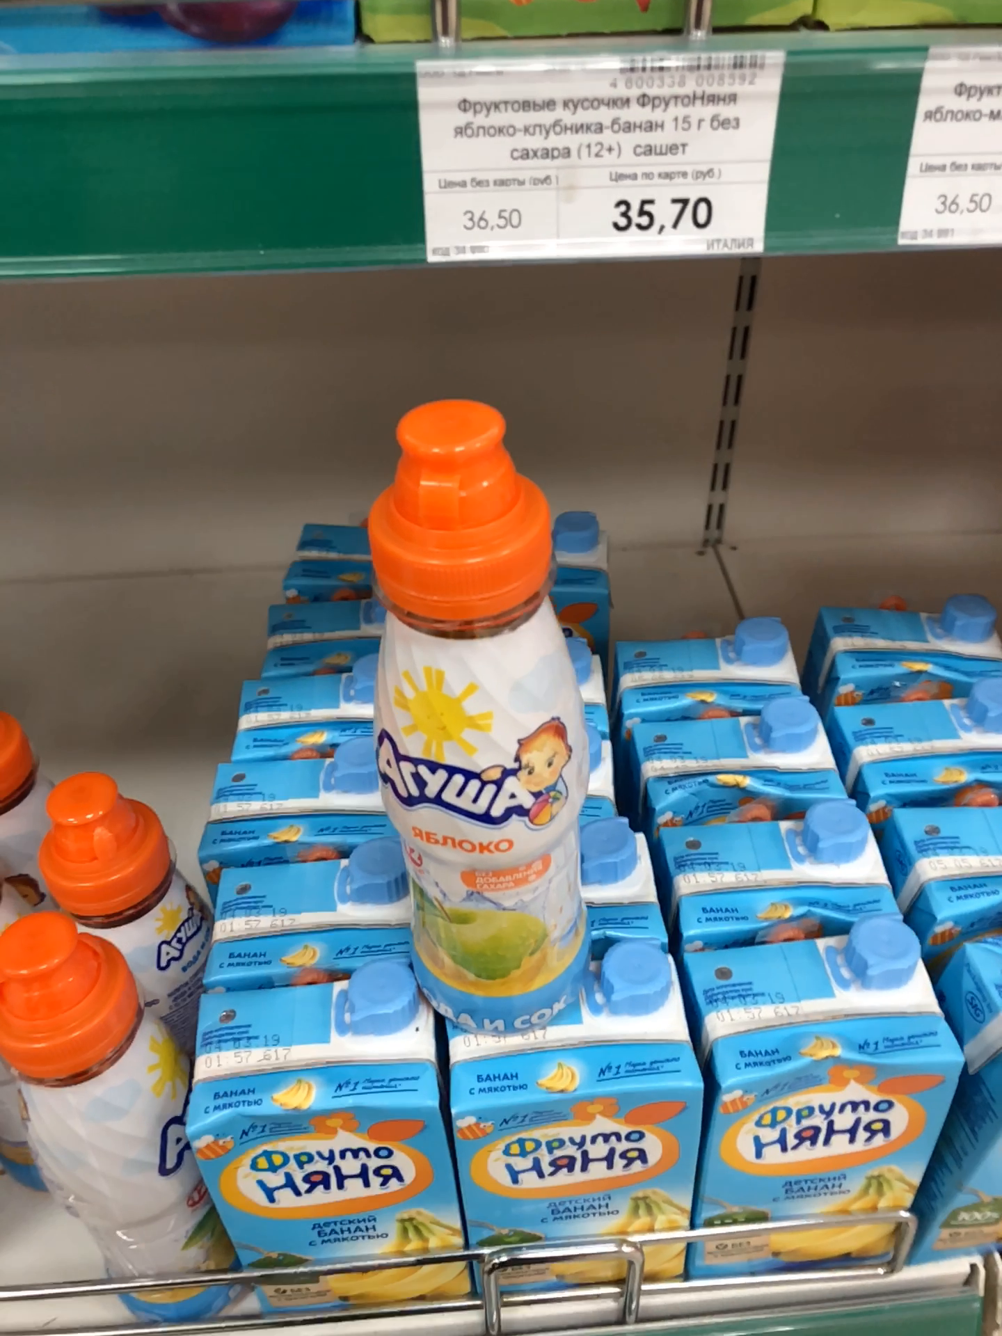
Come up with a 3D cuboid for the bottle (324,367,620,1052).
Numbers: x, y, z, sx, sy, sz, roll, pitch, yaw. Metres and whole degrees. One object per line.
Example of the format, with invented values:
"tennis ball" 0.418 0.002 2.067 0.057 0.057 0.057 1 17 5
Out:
"bottle" -0.003 0.023 0.295 0.056 0.193 0.053 0 40 0
